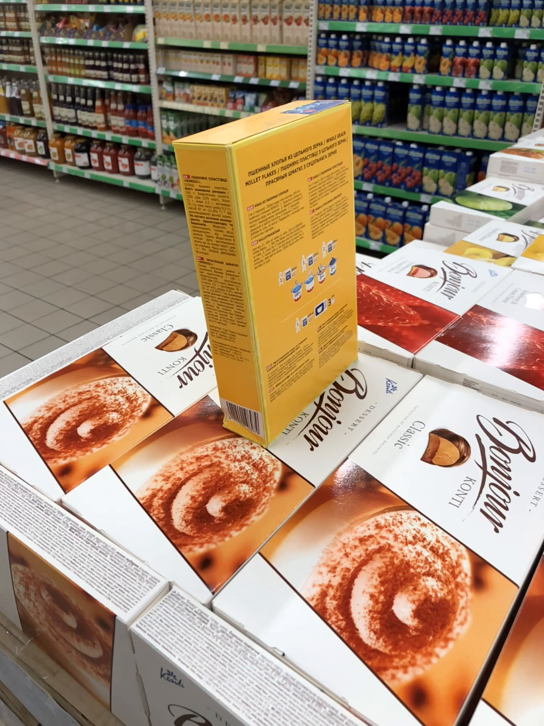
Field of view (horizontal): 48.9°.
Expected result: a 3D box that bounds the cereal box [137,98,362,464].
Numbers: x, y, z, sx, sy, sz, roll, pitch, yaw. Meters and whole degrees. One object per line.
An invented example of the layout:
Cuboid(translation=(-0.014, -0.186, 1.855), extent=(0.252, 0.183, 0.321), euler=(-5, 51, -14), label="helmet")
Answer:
Cuboid(translation=(0.001, -0.065, 0.443), extent=(0.050, 0.218, 0.161), euler=(14, 36, 34), label="cereal box")
